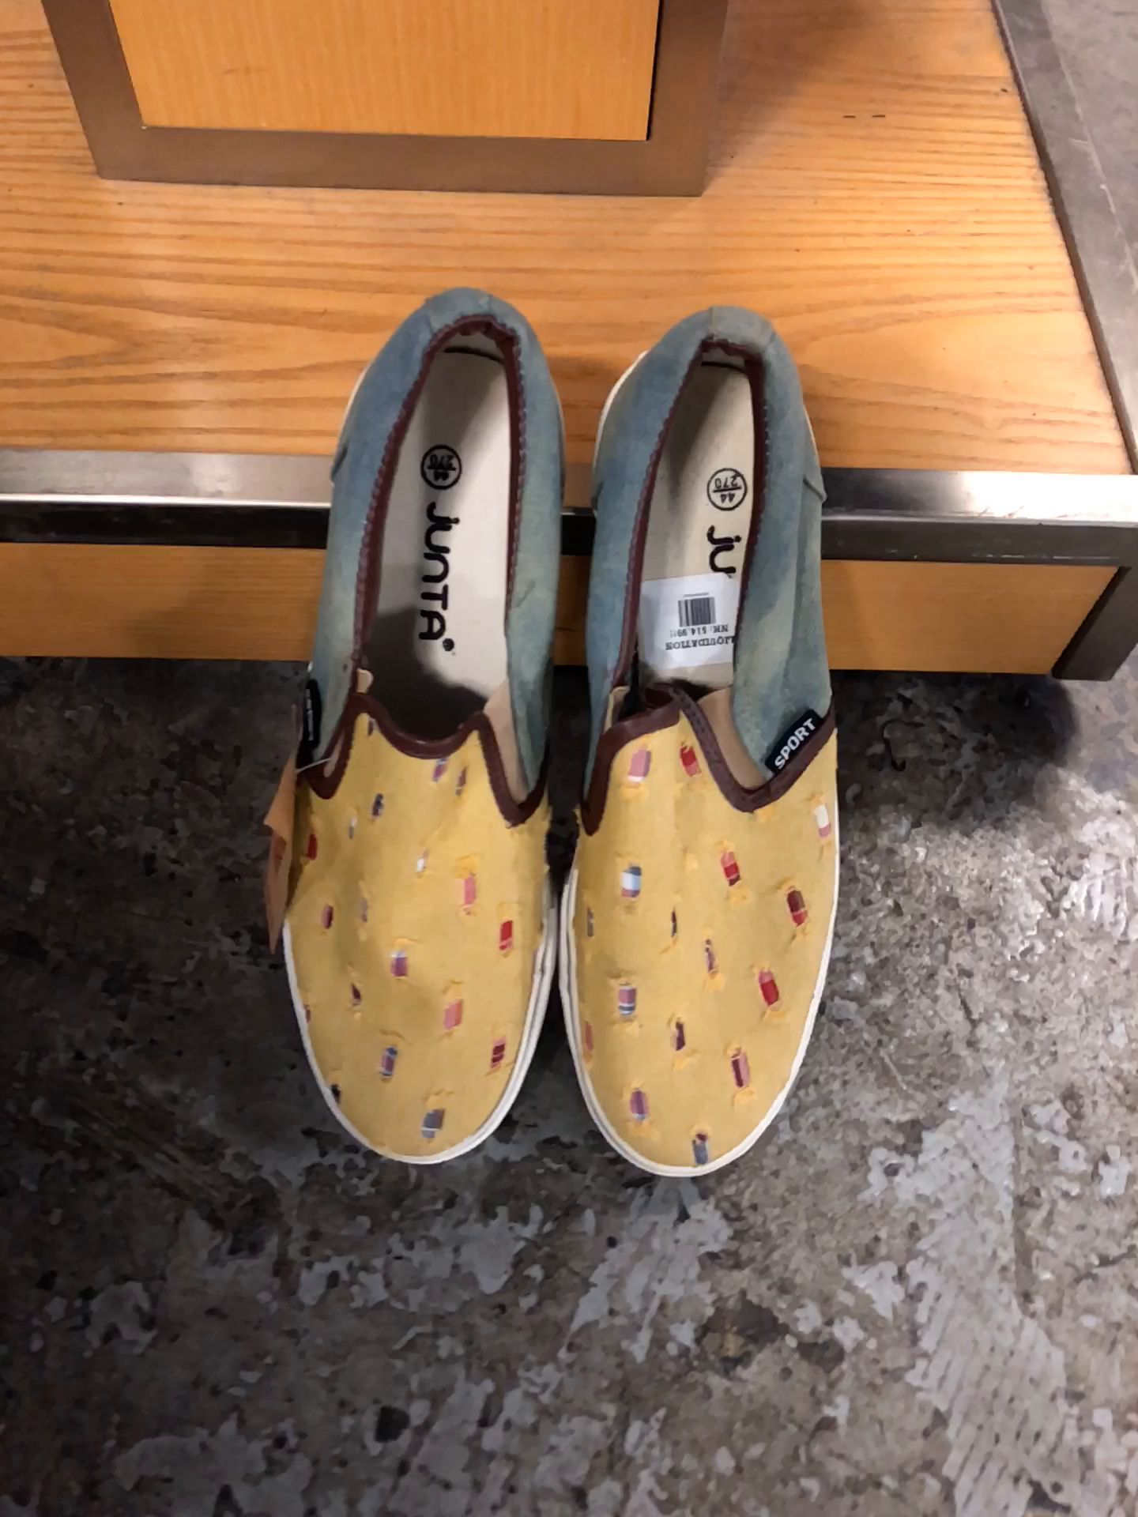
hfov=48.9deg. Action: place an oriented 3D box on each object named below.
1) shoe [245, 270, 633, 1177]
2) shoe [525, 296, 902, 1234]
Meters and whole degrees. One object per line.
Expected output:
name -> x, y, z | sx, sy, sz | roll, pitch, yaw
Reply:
shoe -> -0.040, -0.015, 0.417 | 0.090, 0.259, 0.120 | 7, 16, 2
shoe -> 0.041, 0.001, 0.413 | 0.090, 0.279, 0.100 | 4, 16, 5
